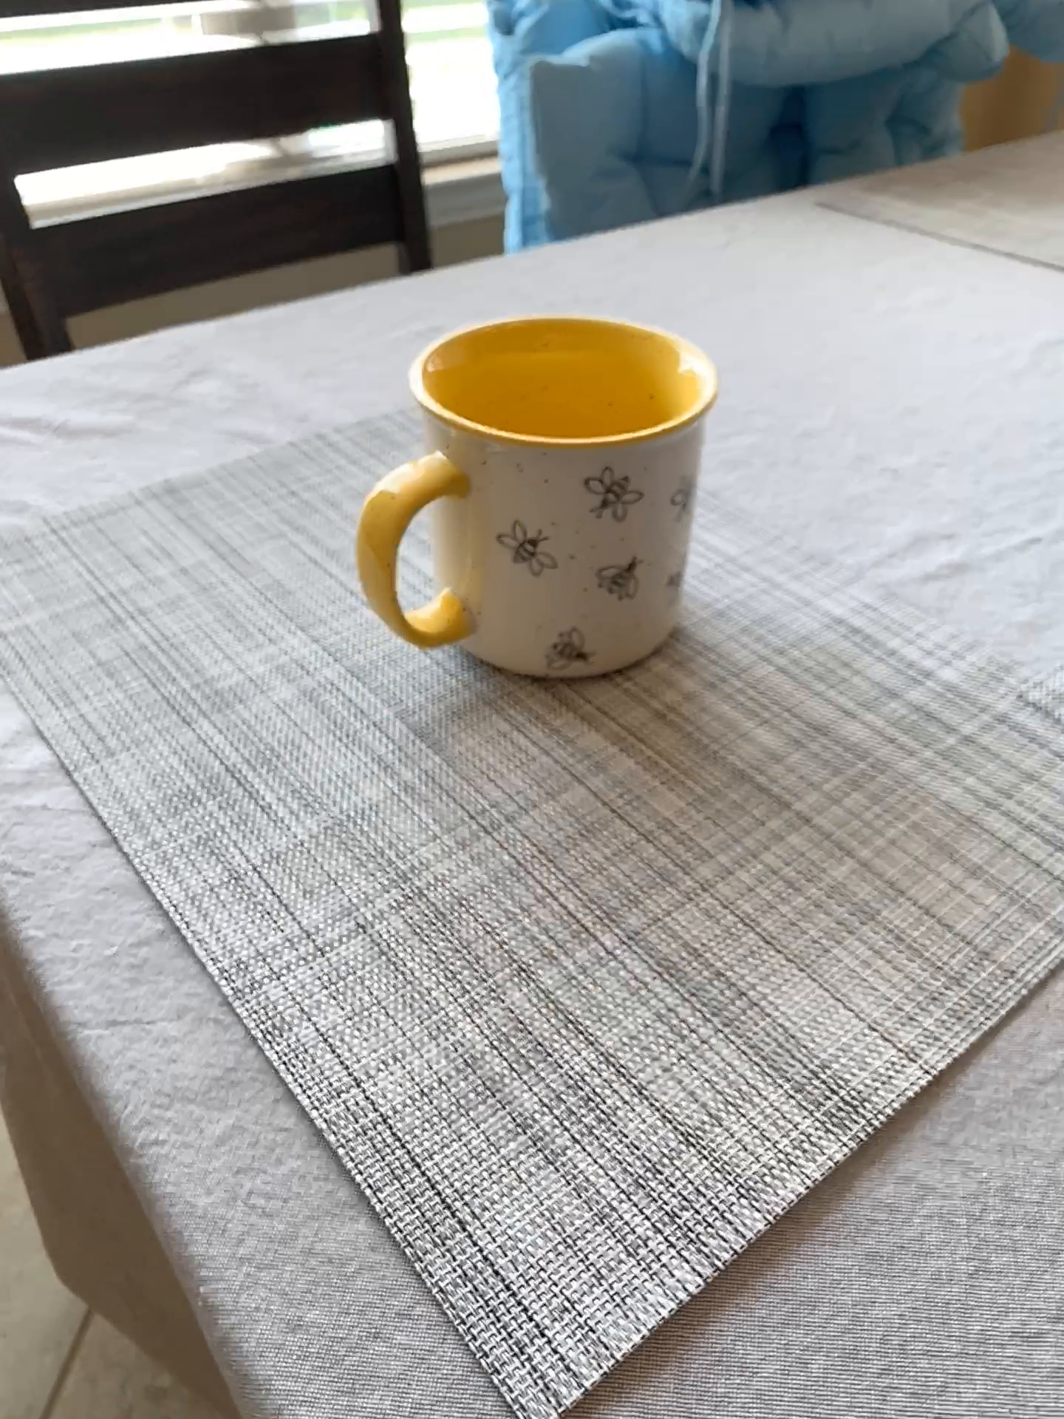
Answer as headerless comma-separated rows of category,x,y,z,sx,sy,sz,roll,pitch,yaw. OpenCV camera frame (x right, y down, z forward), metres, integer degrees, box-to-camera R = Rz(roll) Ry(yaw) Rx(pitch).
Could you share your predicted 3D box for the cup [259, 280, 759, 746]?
cup,-0.010,-0.082,0.422,0.136,0.107,0.114,-23,45,-28
